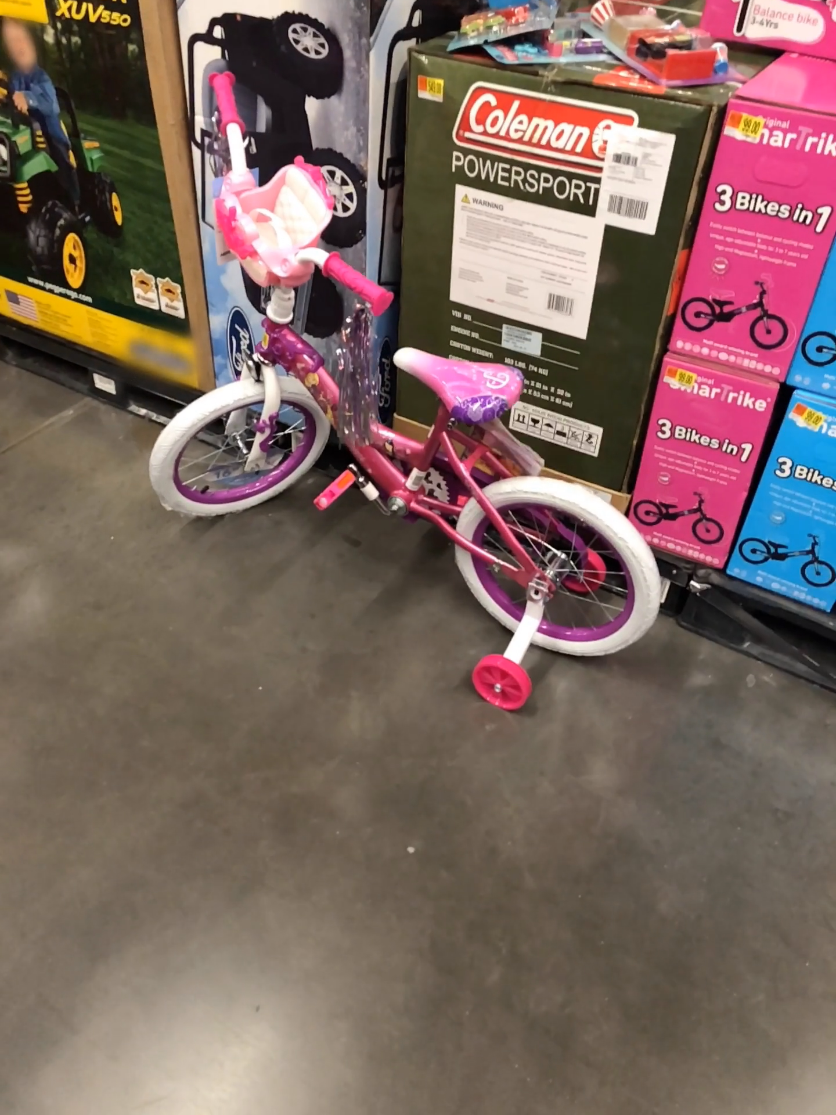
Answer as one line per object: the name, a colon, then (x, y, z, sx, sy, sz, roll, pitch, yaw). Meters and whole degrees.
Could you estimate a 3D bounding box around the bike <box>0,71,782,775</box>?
bike: (-0.029, -0.227, 1.500, 0.948, 0.854, 0.479, 14, 42, 13)
